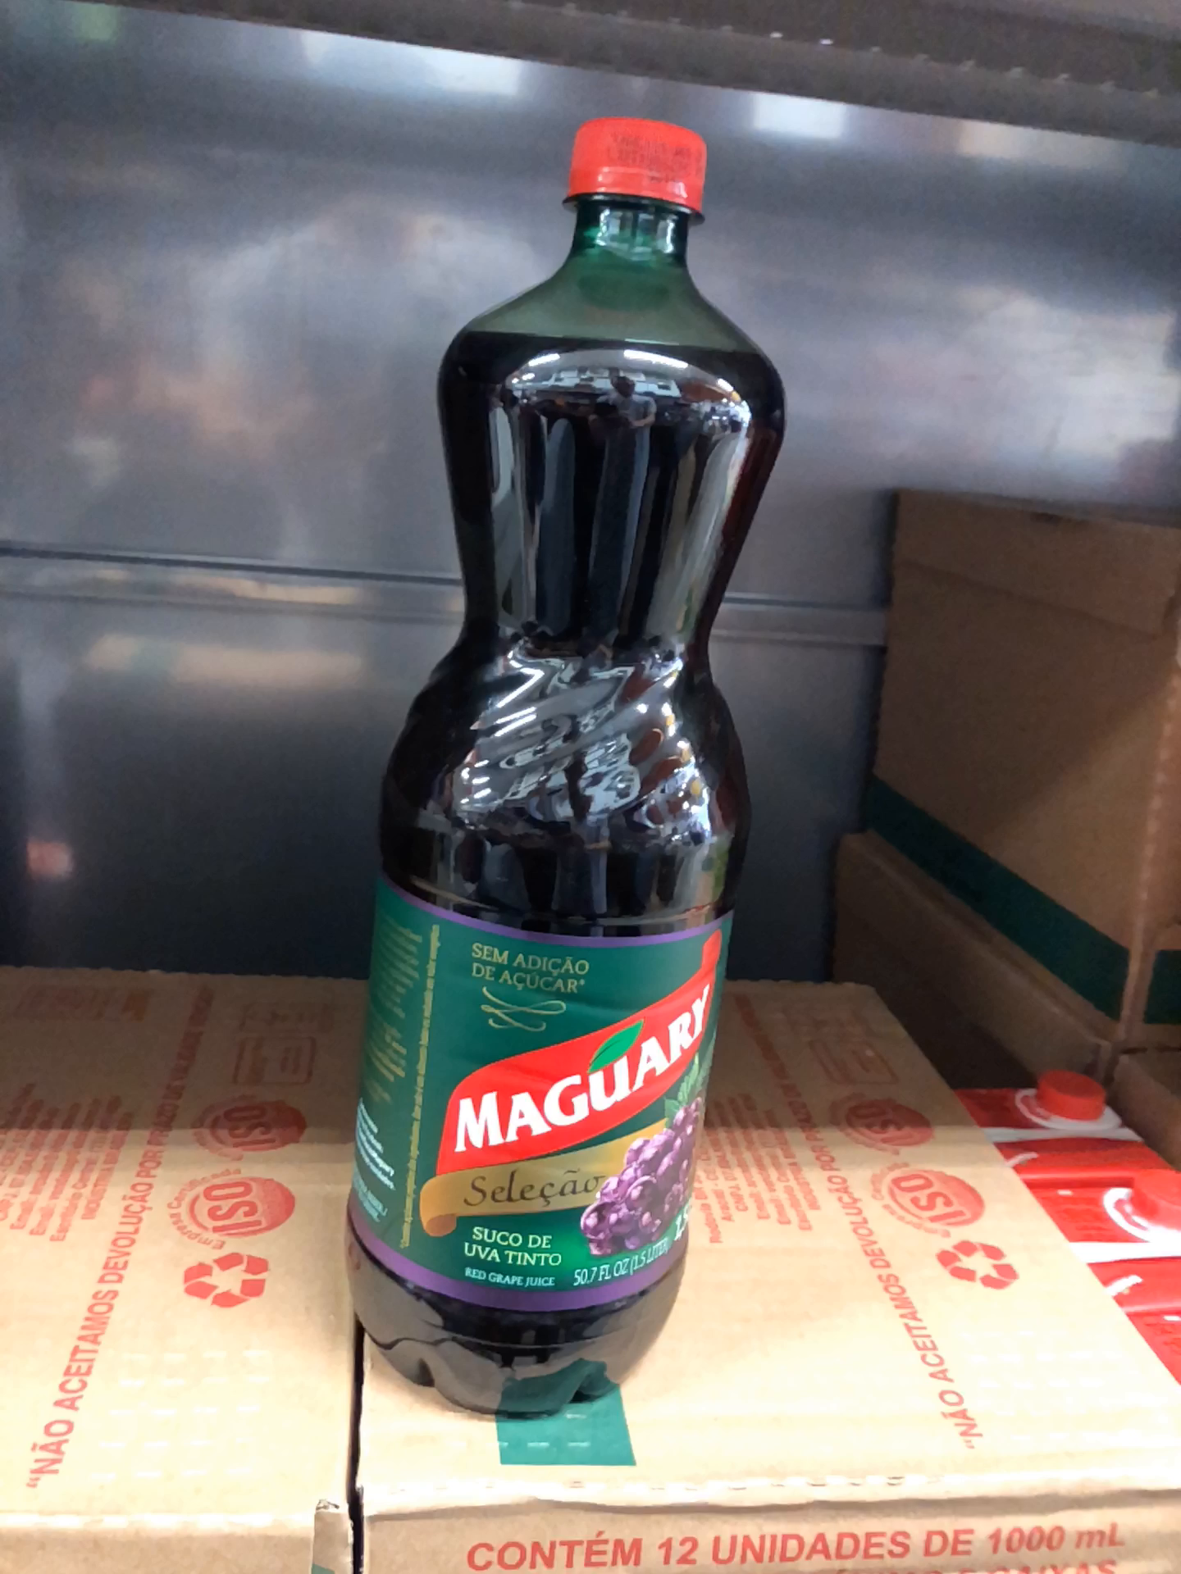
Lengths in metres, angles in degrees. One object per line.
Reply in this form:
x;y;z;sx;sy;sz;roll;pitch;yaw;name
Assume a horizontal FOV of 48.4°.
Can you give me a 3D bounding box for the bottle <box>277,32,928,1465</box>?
-0.009;0.000;0.313;0.100;0.289;0.080;-1;16;-26;bottle
